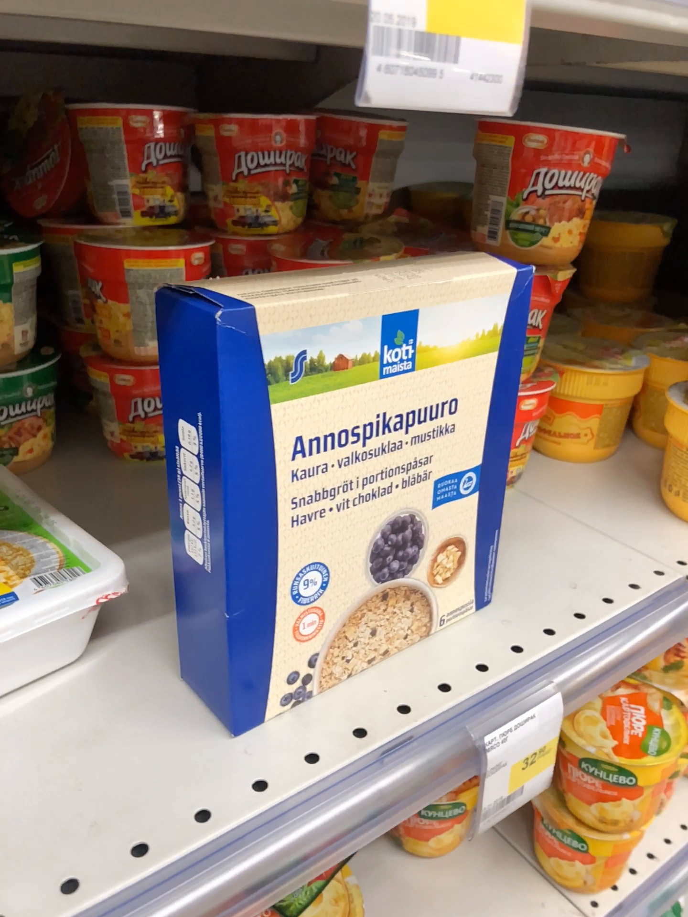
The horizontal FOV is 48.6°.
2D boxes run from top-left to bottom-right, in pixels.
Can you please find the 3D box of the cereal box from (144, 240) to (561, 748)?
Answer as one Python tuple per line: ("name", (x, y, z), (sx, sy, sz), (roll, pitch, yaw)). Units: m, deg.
("cereal box", (0.009, 0.006, 0.336), (0.170, 0.179, 0.050), (-17, 31, -35))
